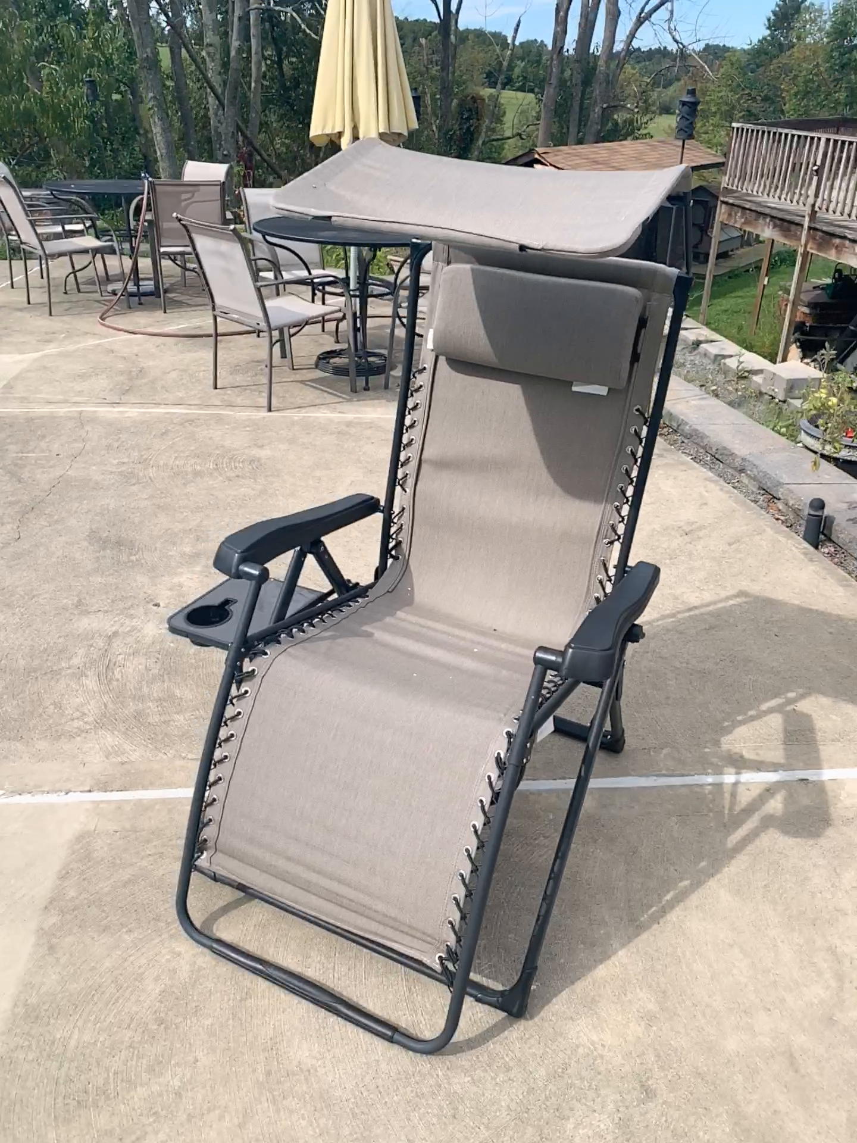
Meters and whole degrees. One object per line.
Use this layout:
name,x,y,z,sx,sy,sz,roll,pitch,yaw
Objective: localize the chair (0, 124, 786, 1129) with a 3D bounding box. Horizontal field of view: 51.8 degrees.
chair,-0.152,-0.078,1.453,1.065,1.137,0.910,14,31,23
